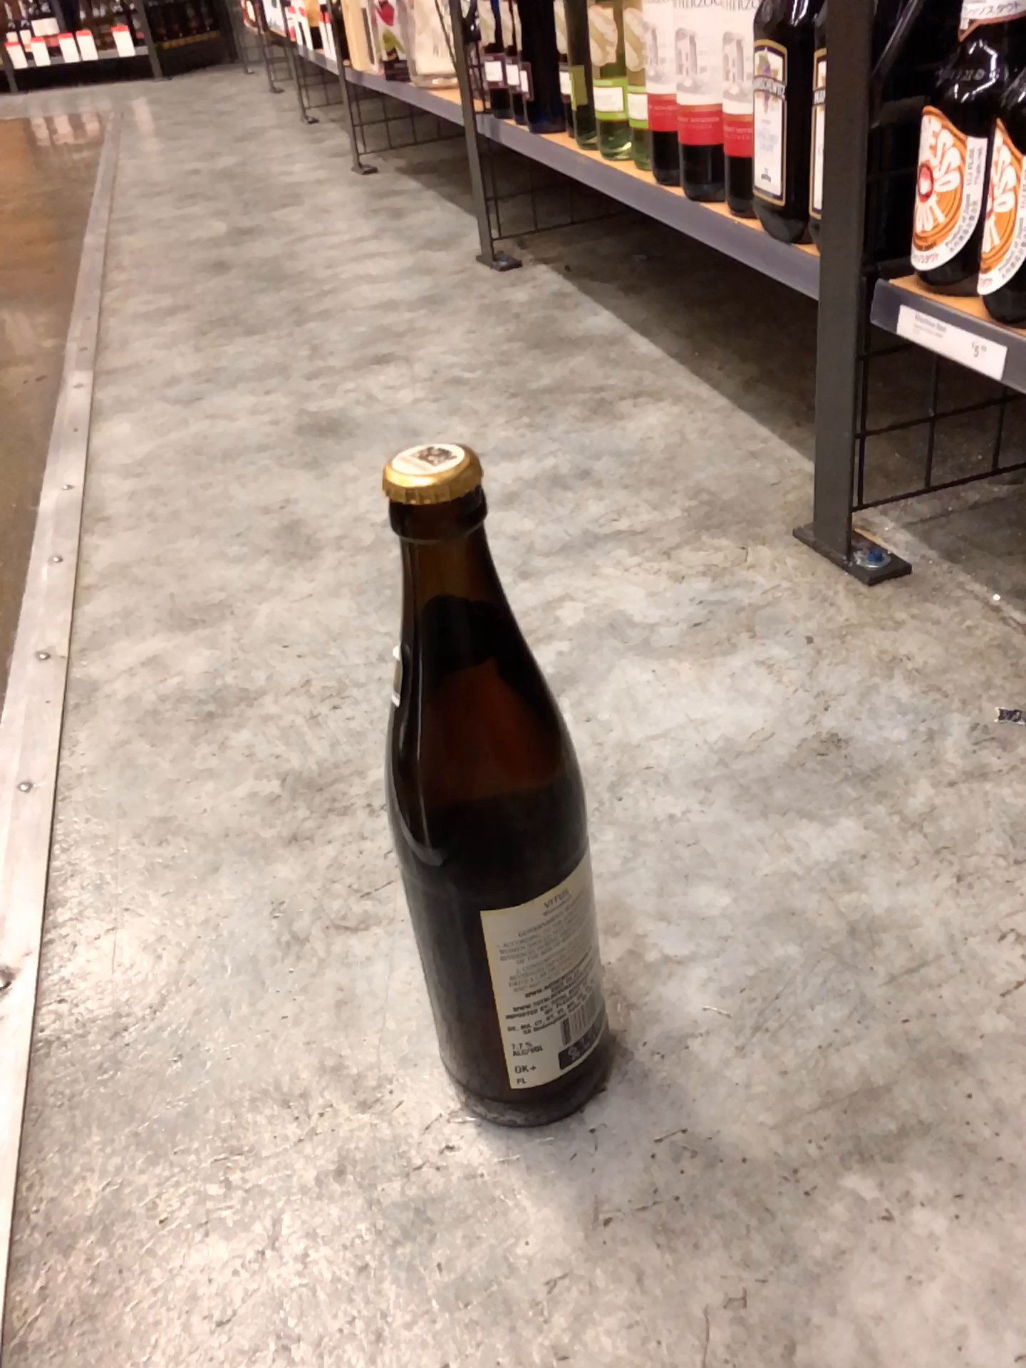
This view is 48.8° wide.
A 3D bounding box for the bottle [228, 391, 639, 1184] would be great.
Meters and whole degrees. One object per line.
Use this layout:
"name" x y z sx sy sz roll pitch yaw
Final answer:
"bottle" -0.016 0.044 0.366 0.070 0.249 0.070 -6 33 4
